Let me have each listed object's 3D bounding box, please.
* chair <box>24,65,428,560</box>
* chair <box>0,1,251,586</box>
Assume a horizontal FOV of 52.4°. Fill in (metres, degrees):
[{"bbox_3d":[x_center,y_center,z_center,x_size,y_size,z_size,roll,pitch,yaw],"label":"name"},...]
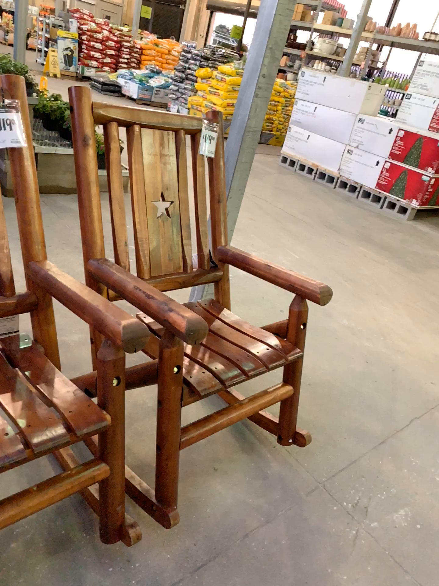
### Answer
[{"bbox_3d":[-0.127,-0.014,1.585,0.674,1.157,1.021,-11,37,-42],"label":"chair"},{"bbox_3d":[-0.656,0.098,1.101,0.674,1.157,1.021,-10,36,-42],"label":"chair"}]
